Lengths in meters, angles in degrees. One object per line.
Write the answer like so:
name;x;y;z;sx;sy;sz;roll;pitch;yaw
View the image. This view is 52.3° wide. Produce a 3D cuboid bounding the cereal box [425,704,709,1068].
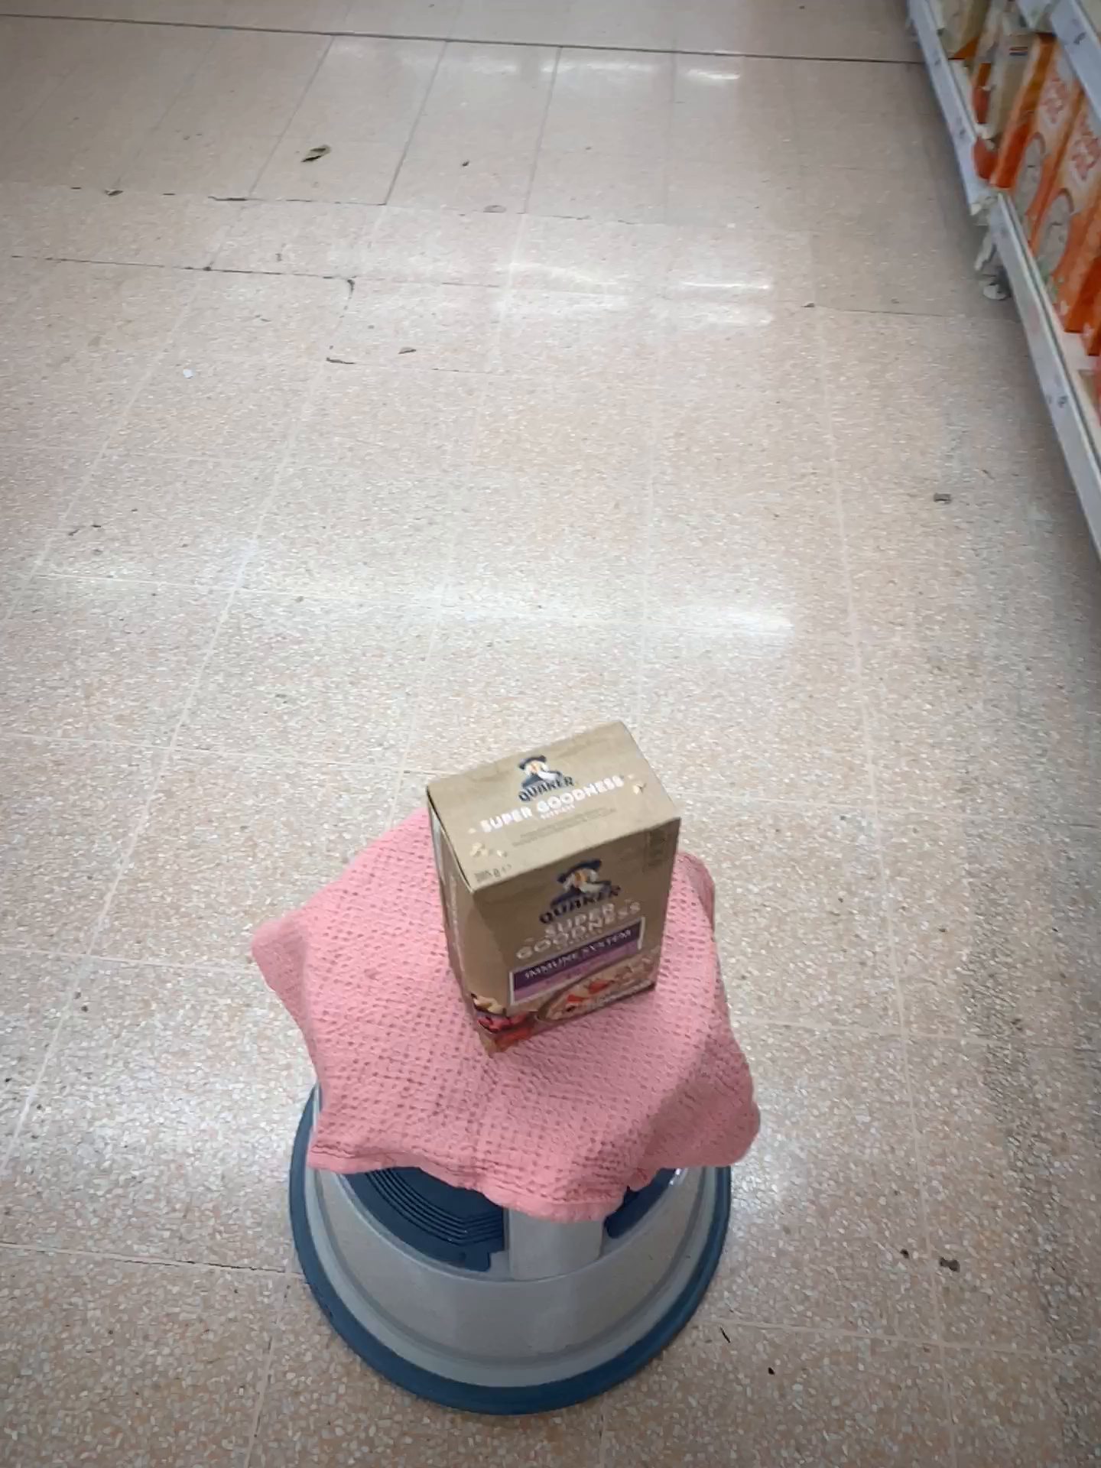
cereal box;0.006;0.100;0.695;0.130;0.208;0.091;-19;54;-16
